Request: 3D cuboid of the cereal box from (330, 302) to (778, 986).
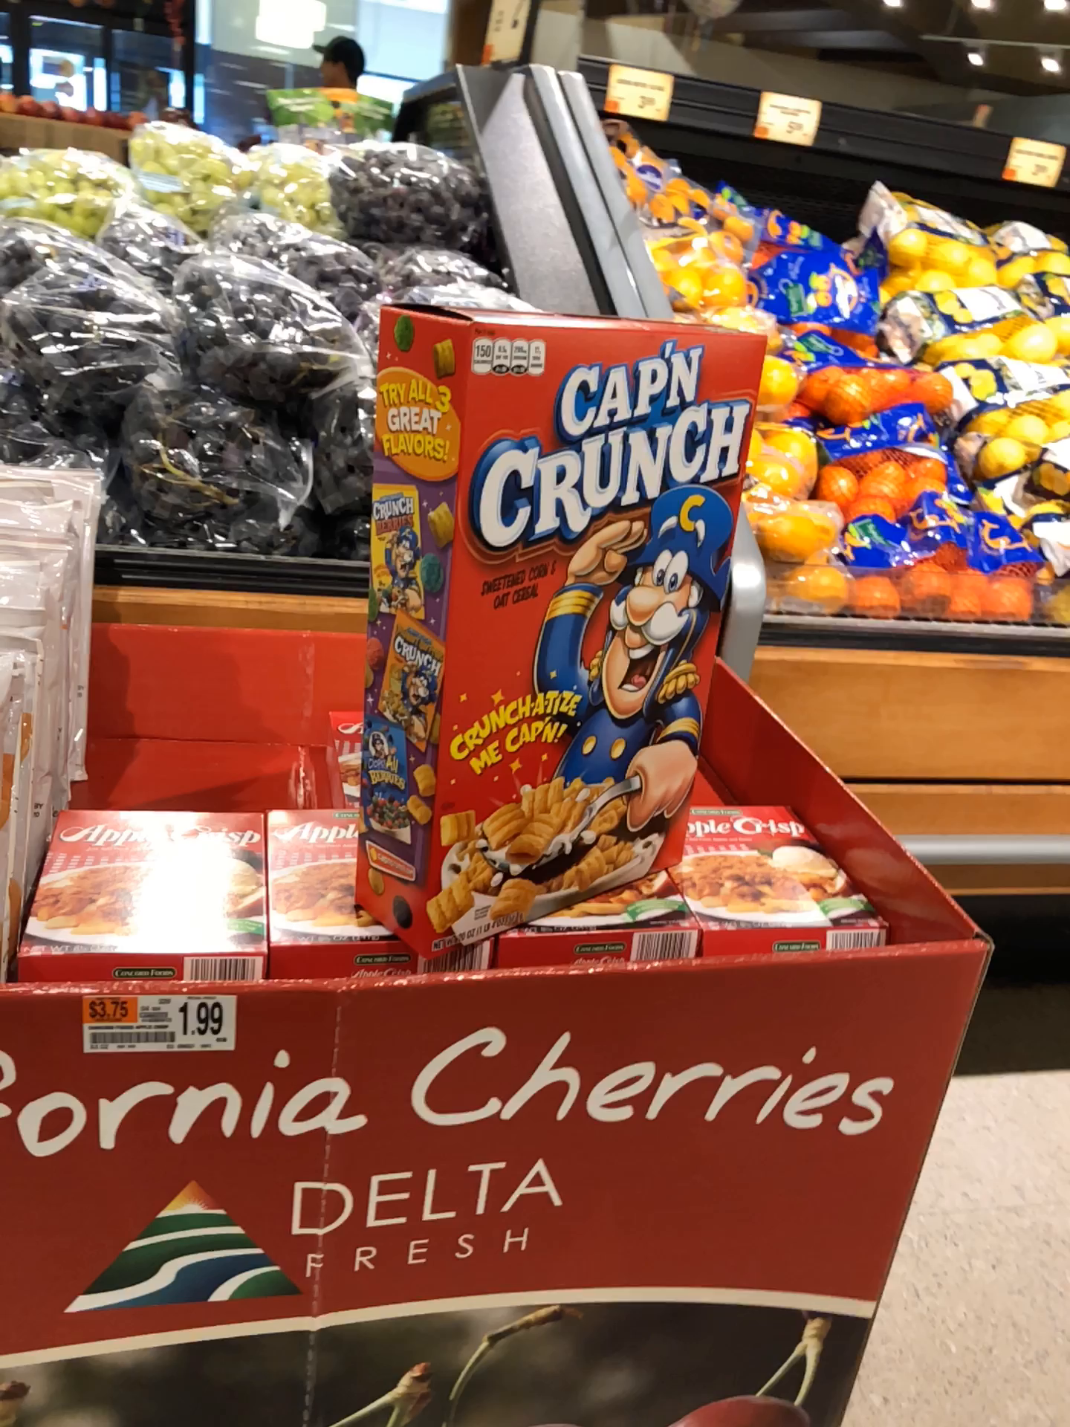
[{"bbox_3d":[0.008,-0.043,0.642,0.221,0.328,0.070,-13,29,-40],"label":"cereal box"}]
